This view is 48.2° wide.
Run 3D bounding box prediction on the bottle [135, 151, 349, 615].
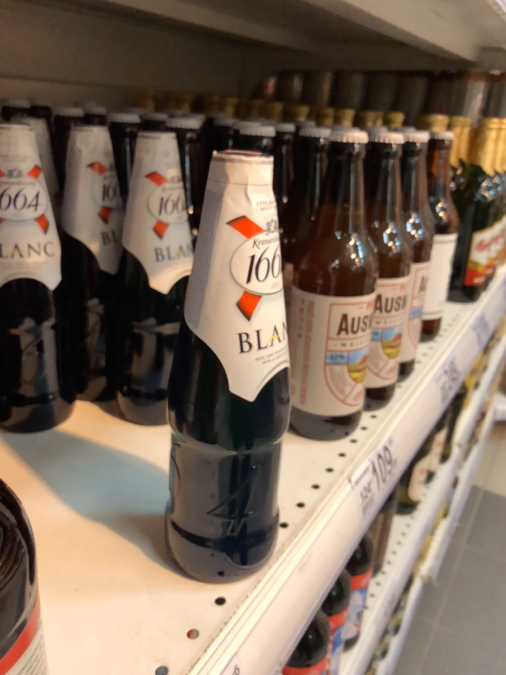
[{"bbox_3d":[-0.012,0.023,0.316,0.070,0.234,0.080,18,25,30],"label":"bottle"}]
